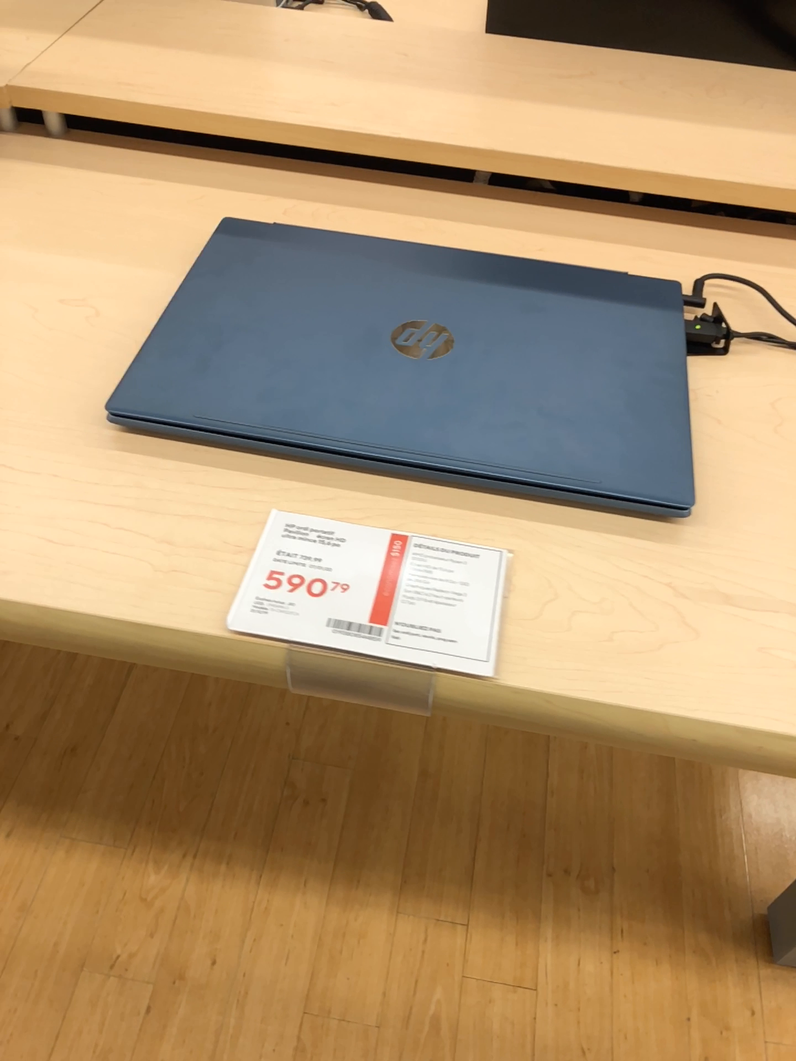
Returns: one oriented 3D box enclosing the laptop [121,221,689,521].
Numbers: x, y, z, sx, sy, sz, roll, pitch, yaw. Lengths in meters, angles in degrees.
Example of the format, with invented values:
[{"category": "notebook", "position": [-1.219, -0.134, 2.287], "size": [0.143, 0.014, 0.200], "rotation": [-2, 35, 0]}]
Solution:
[{"category": "laptop", "position": [0.016, -0.125, 0.605], "size": [0.352, 0.012, 0.221], "rotation": [9, 52, 6]}]
